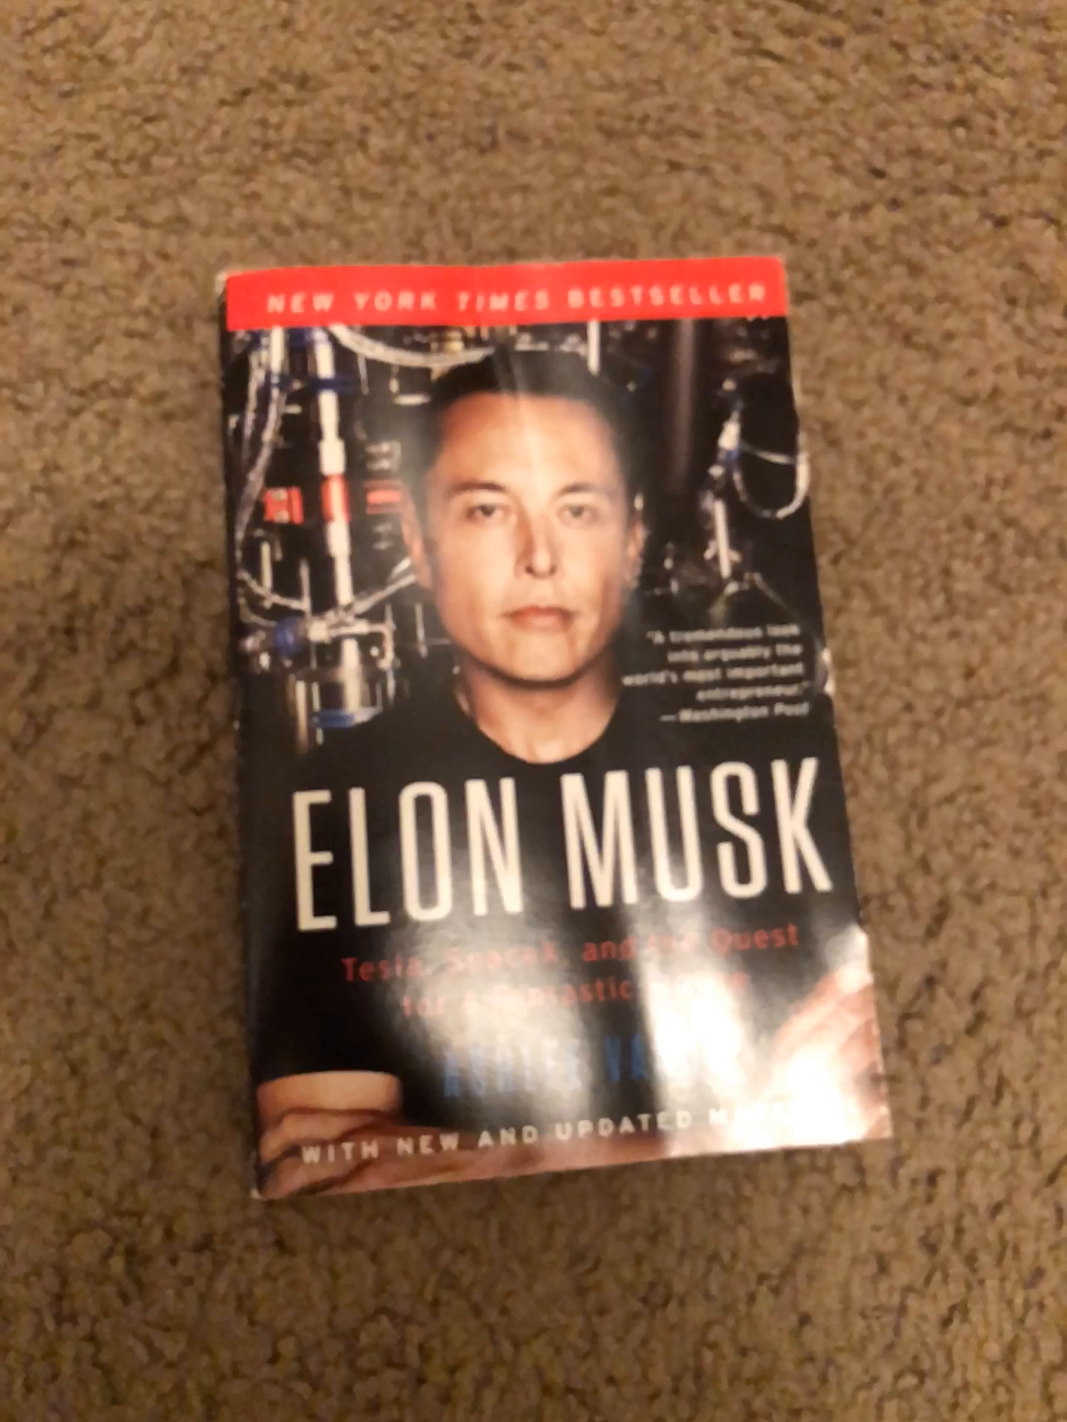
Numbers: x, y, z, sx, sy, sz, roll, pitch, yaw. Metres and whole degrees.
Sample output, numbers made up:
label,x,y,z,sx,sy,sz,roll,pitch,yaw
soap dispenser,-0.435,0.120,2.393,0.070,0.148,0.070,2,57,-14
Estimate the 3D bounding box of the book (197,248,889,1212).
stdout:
label,x,y,z,sx,sy,sz,roll,pitch,yaw
book,-0.002,-0.001,0.277,0.136,0.033,0.202,-3,81,-4
